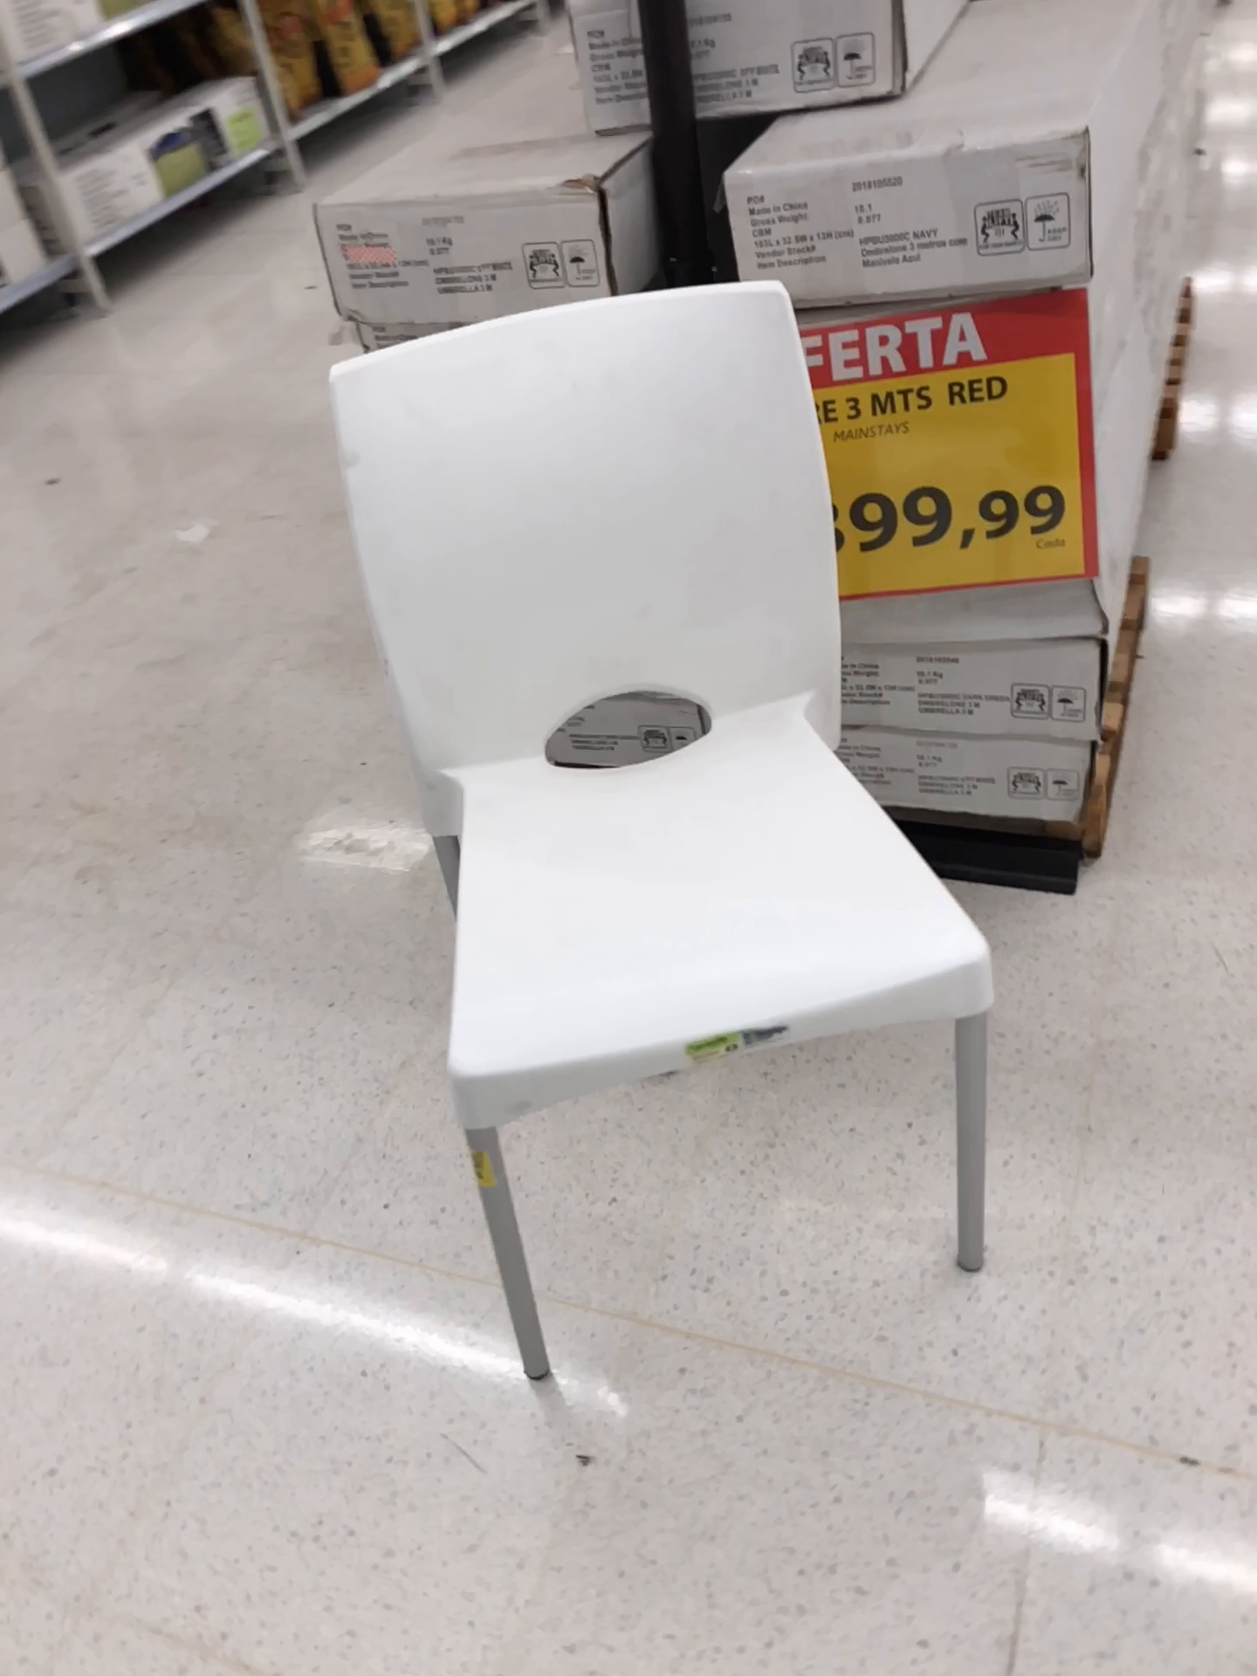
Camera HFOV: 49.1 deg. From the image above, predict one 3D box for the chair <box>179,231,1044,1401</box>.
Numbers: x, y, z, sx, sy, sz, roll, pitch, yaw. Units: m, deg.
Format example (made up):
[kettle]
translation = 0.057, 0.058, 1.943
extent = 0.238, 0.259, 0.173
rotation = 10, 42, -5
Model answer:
[chair]
translation = 0.012, -0.010, 1.244
extent = 0.500, 0.794, 0.564
rotation = -12, 39, -1
